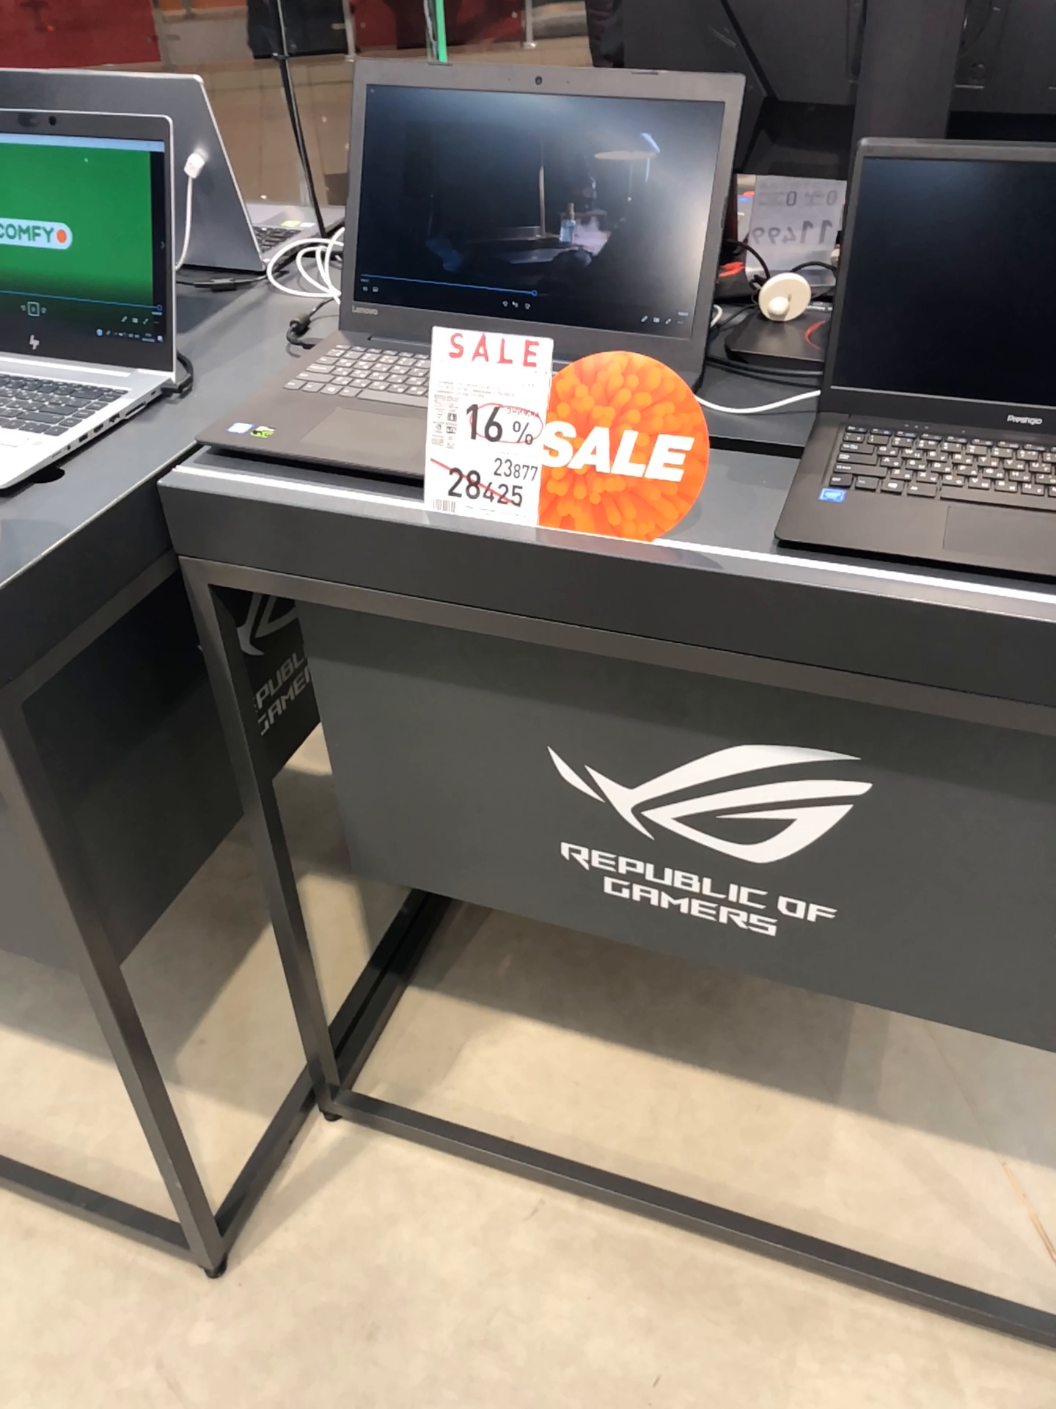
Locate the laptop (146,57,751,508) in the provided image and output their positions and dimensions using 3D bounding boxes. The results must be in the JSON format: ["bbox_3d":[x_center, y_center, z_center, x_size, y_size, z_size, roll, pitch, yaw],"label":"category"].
[{"bbox_3d":[-0.045,-0.387,1.009,0.382,0.235,0.336,12,41,19],"label":"laptop"}]
